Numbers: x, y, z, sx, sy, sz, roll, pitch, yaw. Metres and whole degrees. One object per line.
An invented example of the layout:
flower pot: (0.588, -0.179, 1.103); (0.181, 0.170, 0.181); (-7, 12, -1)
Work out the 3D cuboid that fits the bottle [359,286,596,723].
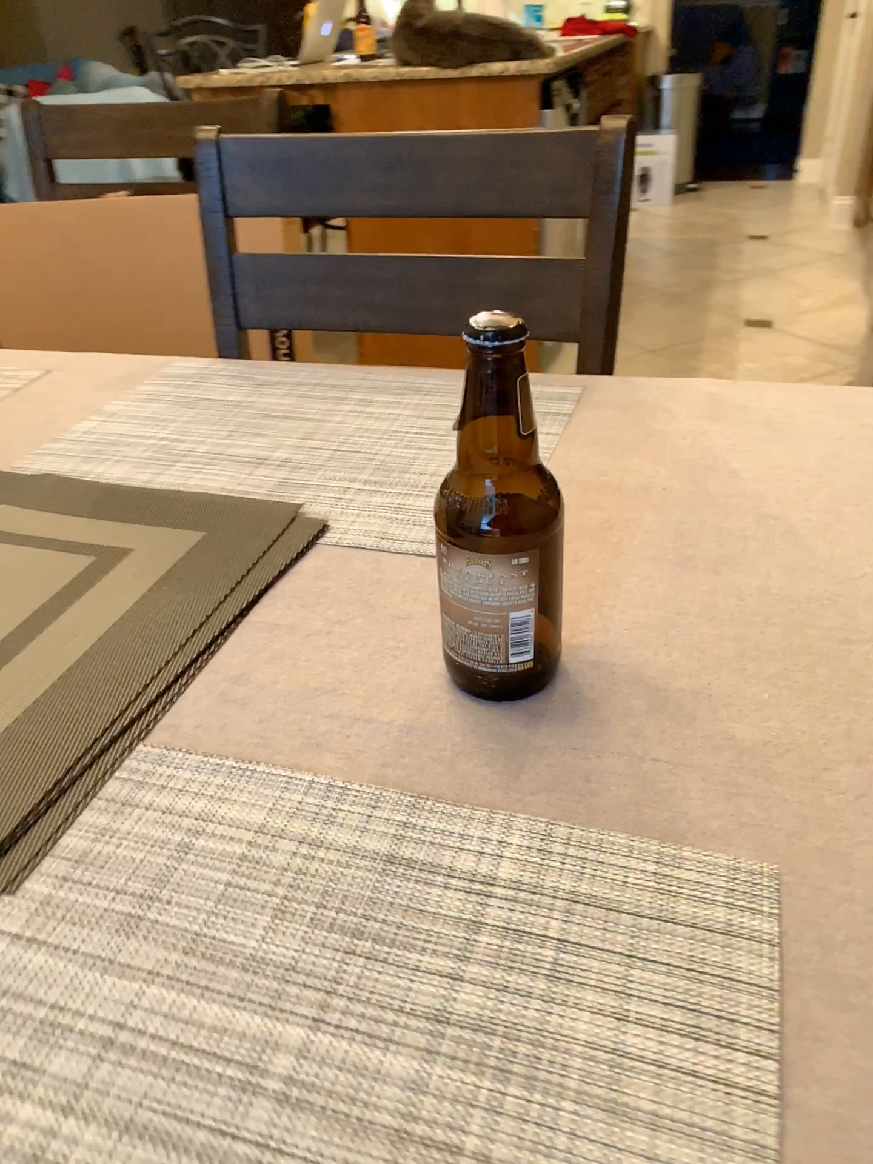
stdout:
bottle: (0.025, -0.037, 0.441); (0.080, 0.189, 0.080); (-3, 32, 2)
